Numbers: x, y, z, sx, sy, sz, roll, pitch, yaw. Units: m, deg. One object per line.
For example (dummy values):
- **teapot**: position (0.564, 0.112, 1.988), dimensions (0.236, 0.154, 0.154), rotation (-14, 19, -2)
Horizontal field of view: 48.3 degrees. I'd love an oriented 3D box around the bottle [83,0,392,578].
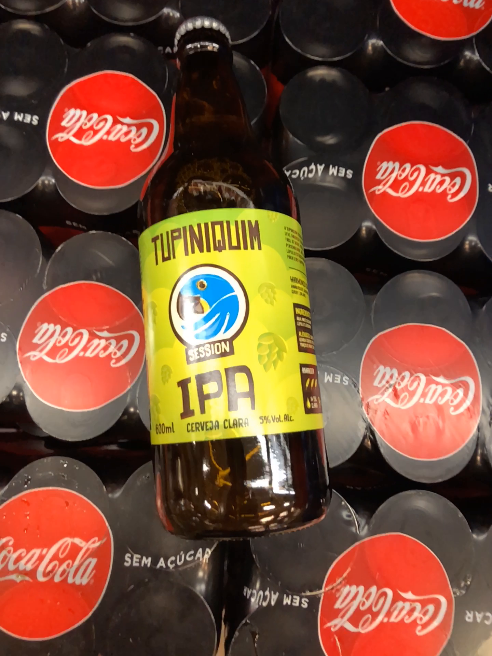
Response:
- **bottle**: position (-0.010, -0.043, 0.239), dimensions (0.090, 0.070, 0.260), rotation (-6, 80, -2)
